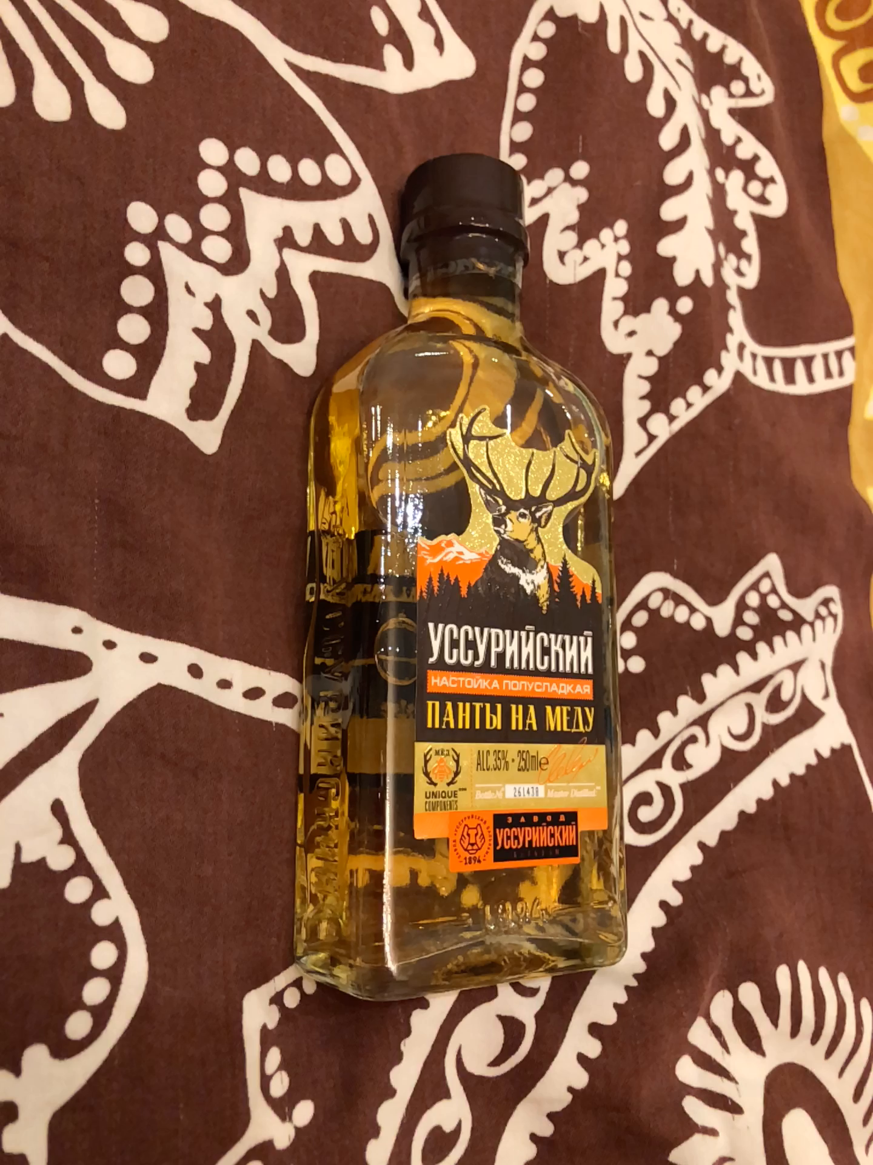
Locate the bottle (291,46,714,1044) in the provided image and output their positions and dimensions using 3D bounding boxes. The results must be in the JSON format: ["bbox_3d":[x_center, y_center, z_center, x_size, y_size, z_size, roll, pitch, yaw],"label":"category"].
[{"bbox_3d":[0.011,-0.009,0.218,0.070,0.050,0.190,6,76,-31],"label":"bottle"}]
